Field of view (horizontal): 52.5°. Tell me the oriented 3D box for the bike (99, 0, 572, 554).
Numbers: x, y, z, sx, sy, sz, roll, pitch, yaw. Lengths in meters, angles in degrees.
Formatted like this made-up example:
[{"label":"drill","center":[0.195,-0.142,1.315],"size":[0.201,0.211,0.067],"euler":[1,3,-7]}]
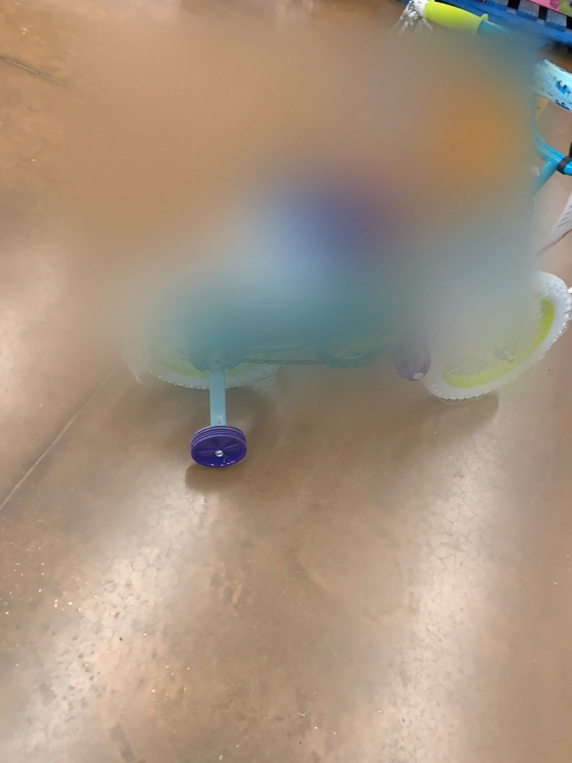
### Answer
[{"label":"bike","center":[0.189,-0.194,0.949],"size":[0.860,0.639,0.625],"euler":[-4,54,-17]}]
